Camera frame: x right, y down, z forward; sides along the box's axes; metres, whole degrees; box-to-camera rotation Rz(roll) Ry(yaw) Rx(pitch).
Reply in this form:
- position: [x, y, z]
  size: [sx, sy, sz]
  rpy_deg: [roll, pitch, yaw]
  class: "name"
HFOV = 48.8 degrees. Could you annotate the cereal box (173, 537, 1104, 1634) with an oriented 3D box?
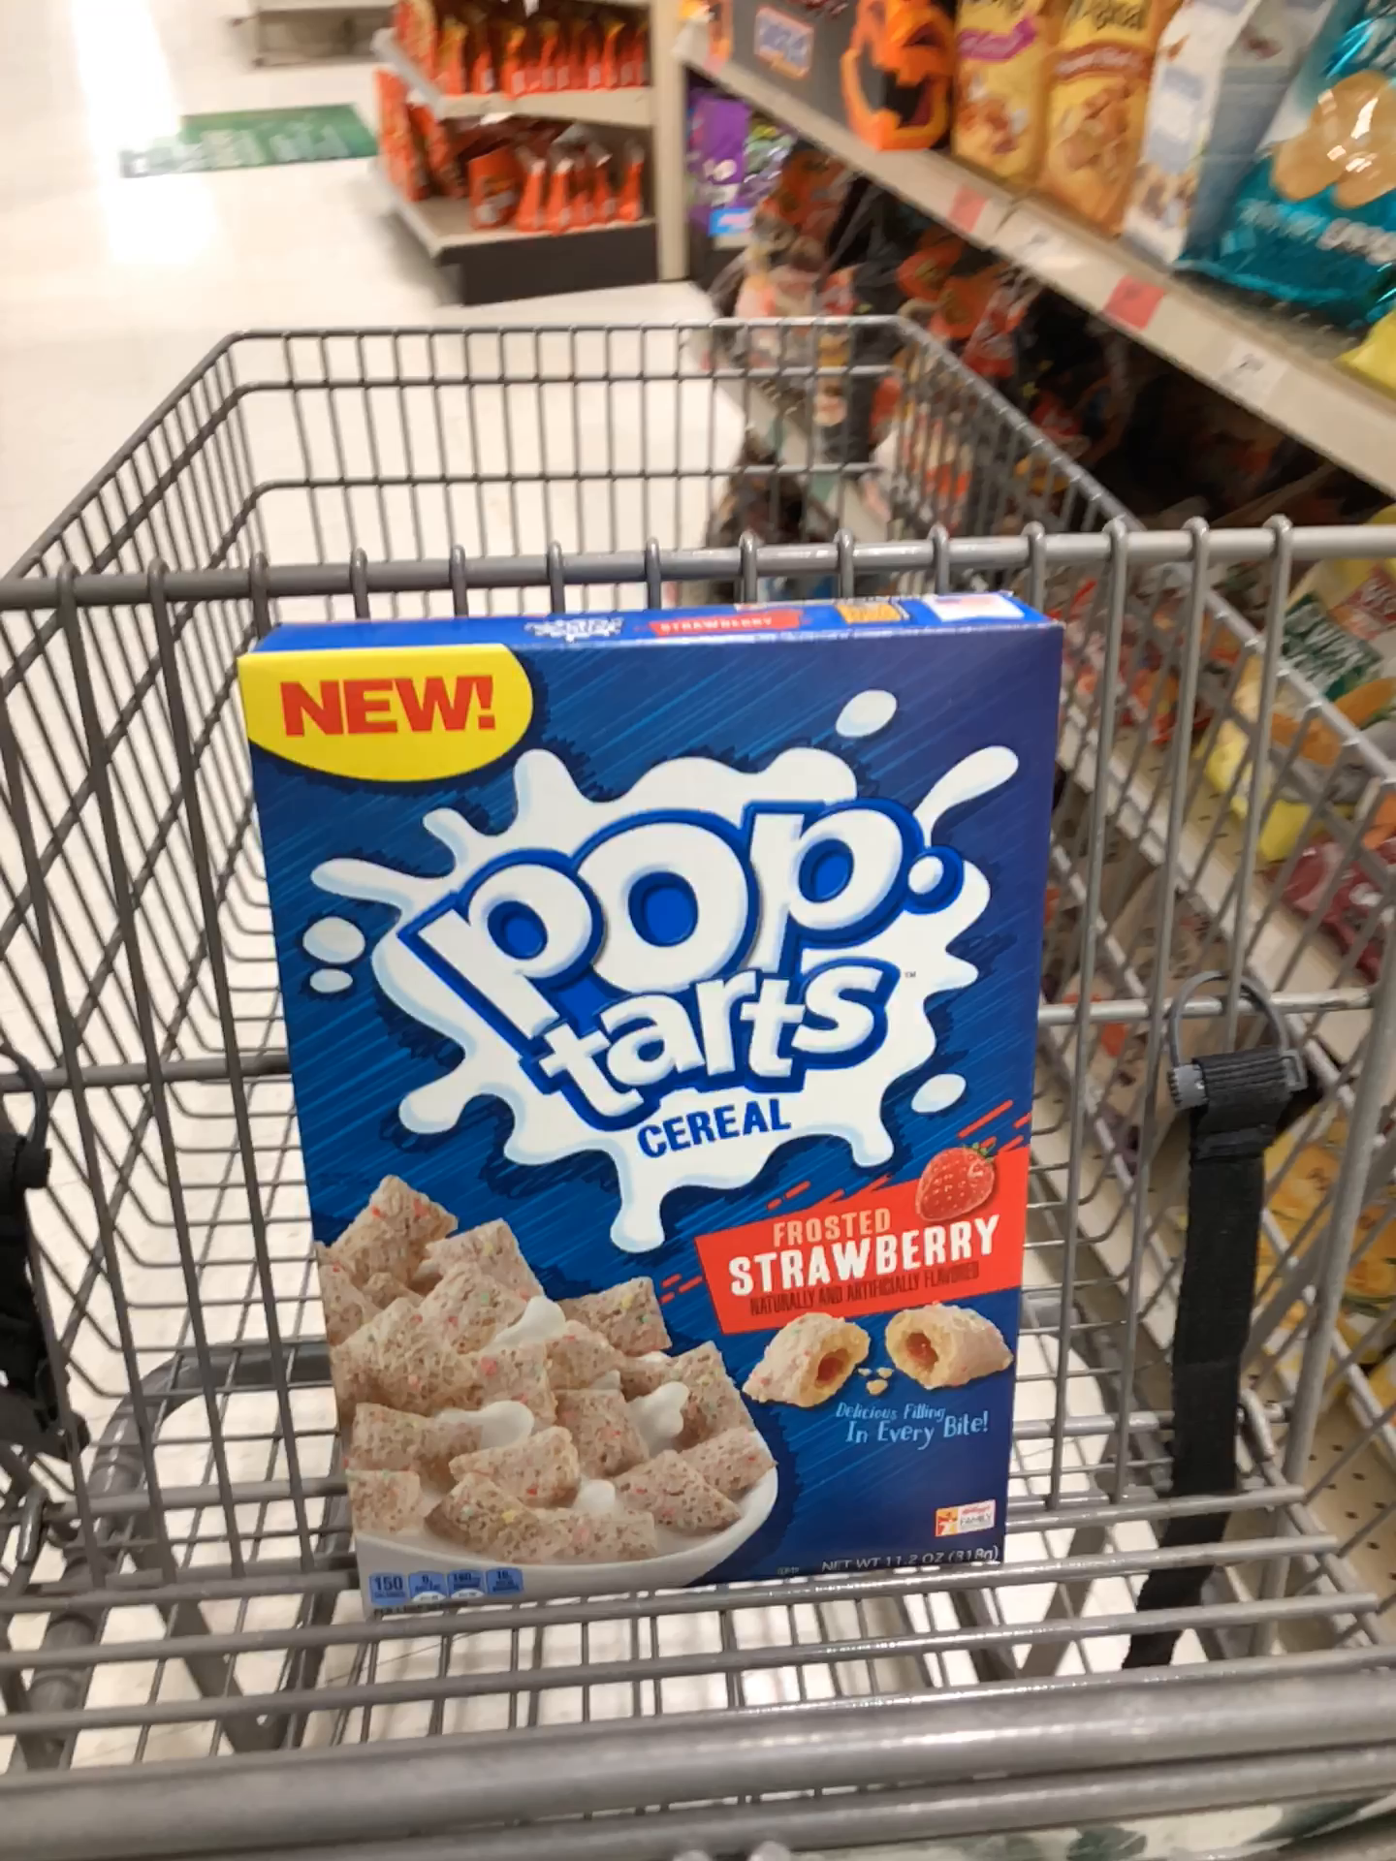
- position: [-0.008, 0.047, 0.401]
  size: [0.200, 0.280, 0.050]
  rpy_deg: [-3, 20, -2]
  class: "cereal box"
